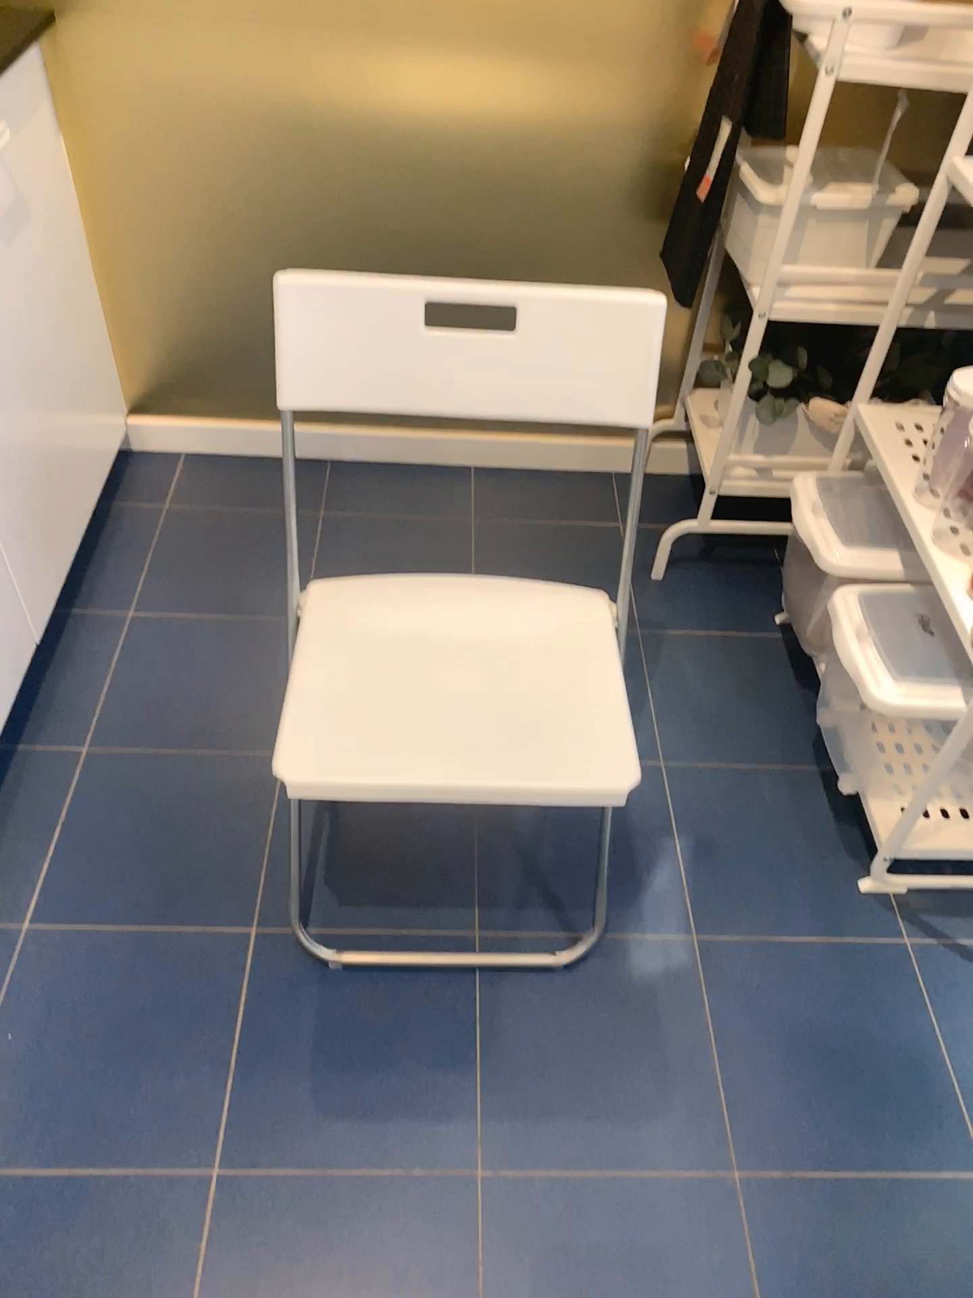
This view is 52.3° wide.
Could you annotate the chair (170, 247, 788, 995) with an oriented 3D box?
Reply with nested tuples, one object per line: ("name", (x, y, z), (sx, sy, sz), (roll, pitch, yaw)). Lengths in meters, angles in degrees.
("chair", (-0.026, 0.017, 1.118), (0.440, 0.748, 0.421), (2, 46, -3))
